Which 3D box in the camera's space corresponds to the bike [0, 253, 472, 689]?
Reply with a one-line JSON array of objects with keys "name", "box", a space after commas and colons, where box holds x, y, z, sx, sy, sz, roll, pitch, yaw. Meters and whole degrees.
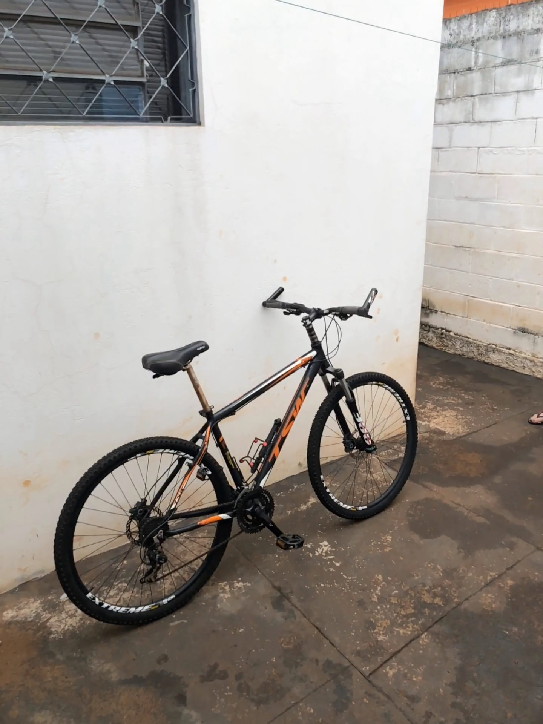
[{"name": "bike", "box": [-0.063, 0.236, 2.485, 1.768, 1.086, 0.723, -15, 24, -34]}]
